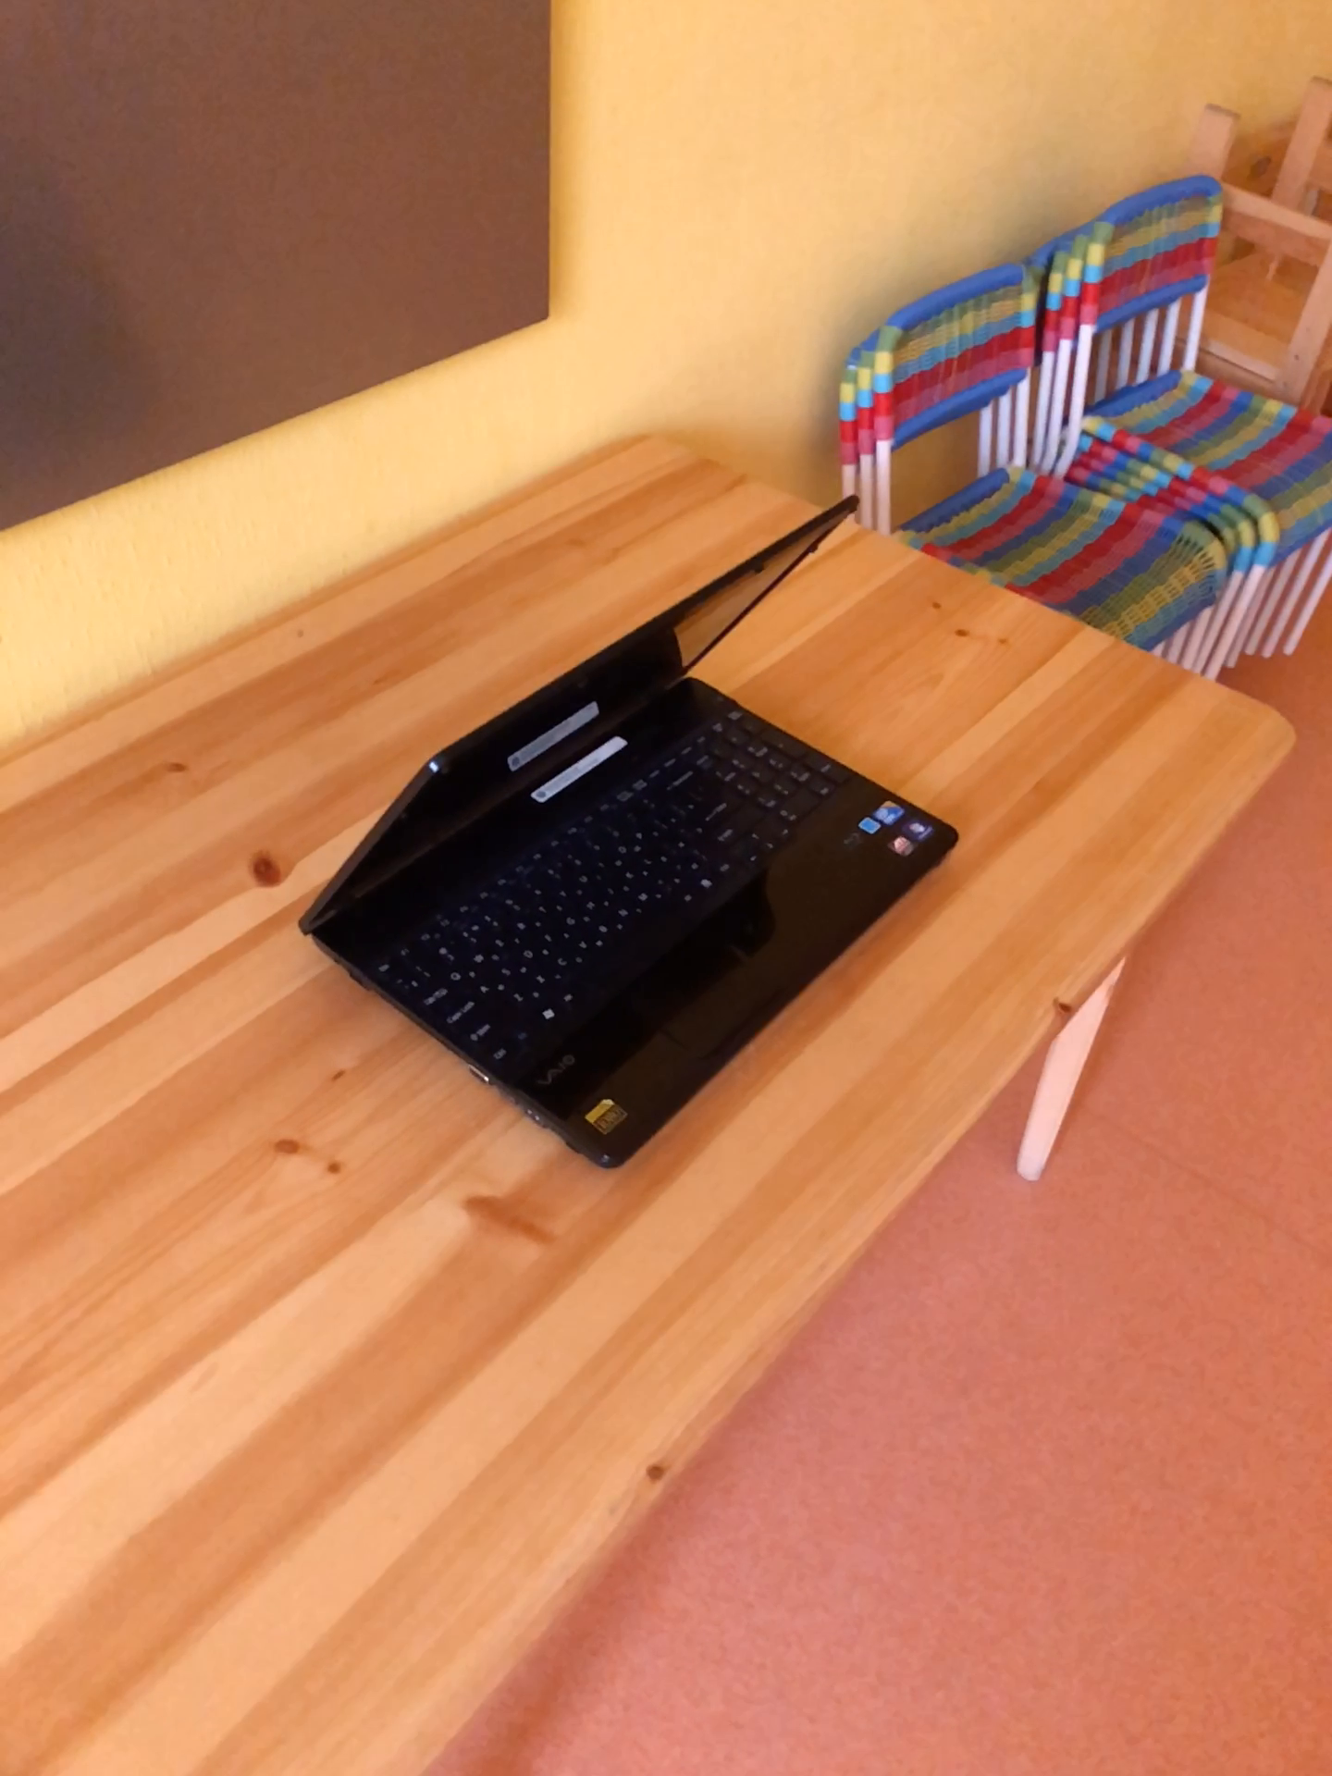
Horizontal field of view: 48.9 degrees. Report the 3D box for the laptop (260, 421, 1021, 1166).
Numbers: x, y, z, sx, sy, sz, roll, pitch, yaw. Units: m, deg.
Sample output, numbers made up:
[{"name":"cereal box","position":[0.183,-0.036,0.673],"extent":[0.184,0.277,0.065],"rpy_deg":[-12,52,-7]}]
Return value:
[{"name":"laptop","position":[-0.004,-0.079,0.873],"extent":[0.247,0.200,0.364],"rpy_deg":[32,50,24]}]
